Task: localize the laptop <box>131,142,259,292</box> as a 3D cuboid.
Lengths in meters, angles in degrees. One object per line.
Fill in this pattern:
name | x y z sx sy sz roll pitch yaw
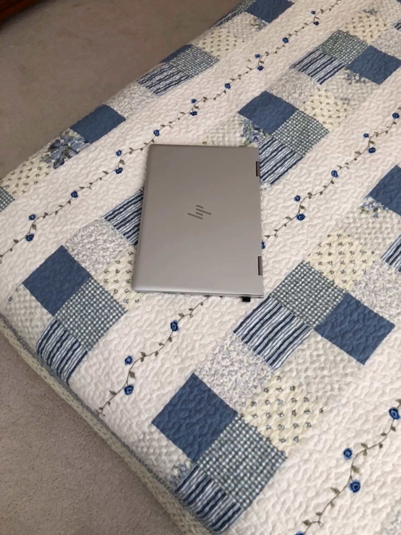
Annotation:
laptop | -0.005 -0.126 0.975 0.256 0.011 0.386 2 62 -1
